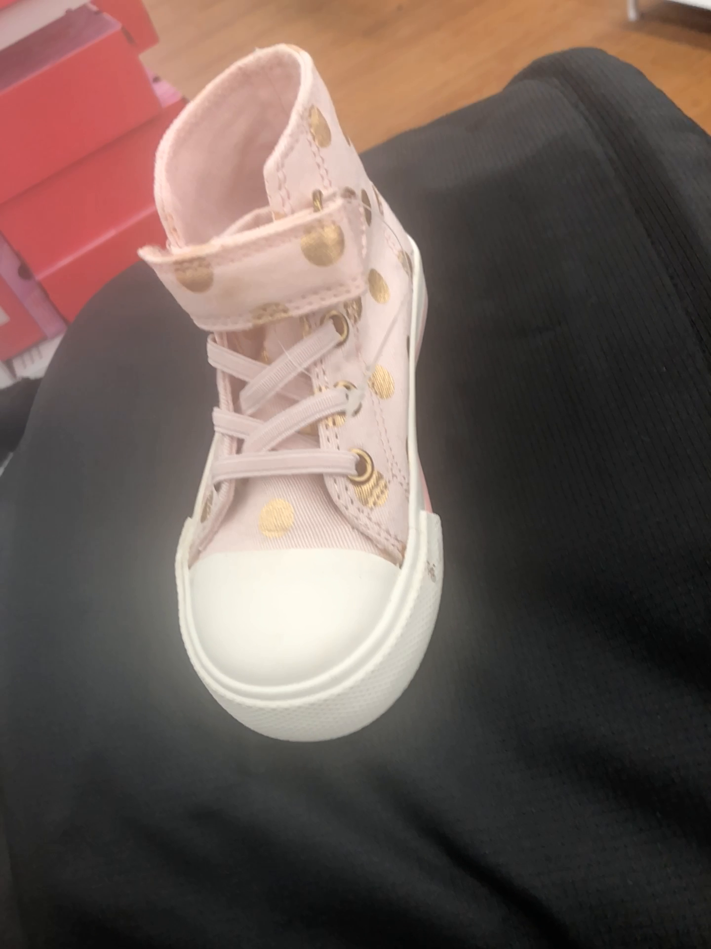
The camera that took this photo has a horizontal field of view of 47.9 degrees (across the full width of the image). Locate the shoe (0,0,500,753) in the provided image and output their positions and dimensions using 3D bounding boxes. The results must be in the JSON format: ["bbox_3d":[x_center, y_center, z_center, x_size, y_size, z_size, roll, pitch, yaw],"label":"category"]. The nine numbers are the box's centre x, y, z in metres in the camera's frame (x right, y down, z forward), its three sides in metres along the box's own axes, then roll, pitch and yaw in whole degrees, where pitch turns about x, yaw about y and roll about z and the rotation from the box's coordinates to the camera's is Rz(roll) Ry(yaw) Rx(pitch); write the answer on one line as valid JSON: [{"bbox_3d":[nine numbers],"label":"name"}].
[{"bbox_3d":[-0.015,-0.033,0.206,0.080,0.100,0.170,-4,49,19],"label":"shoe"}]
